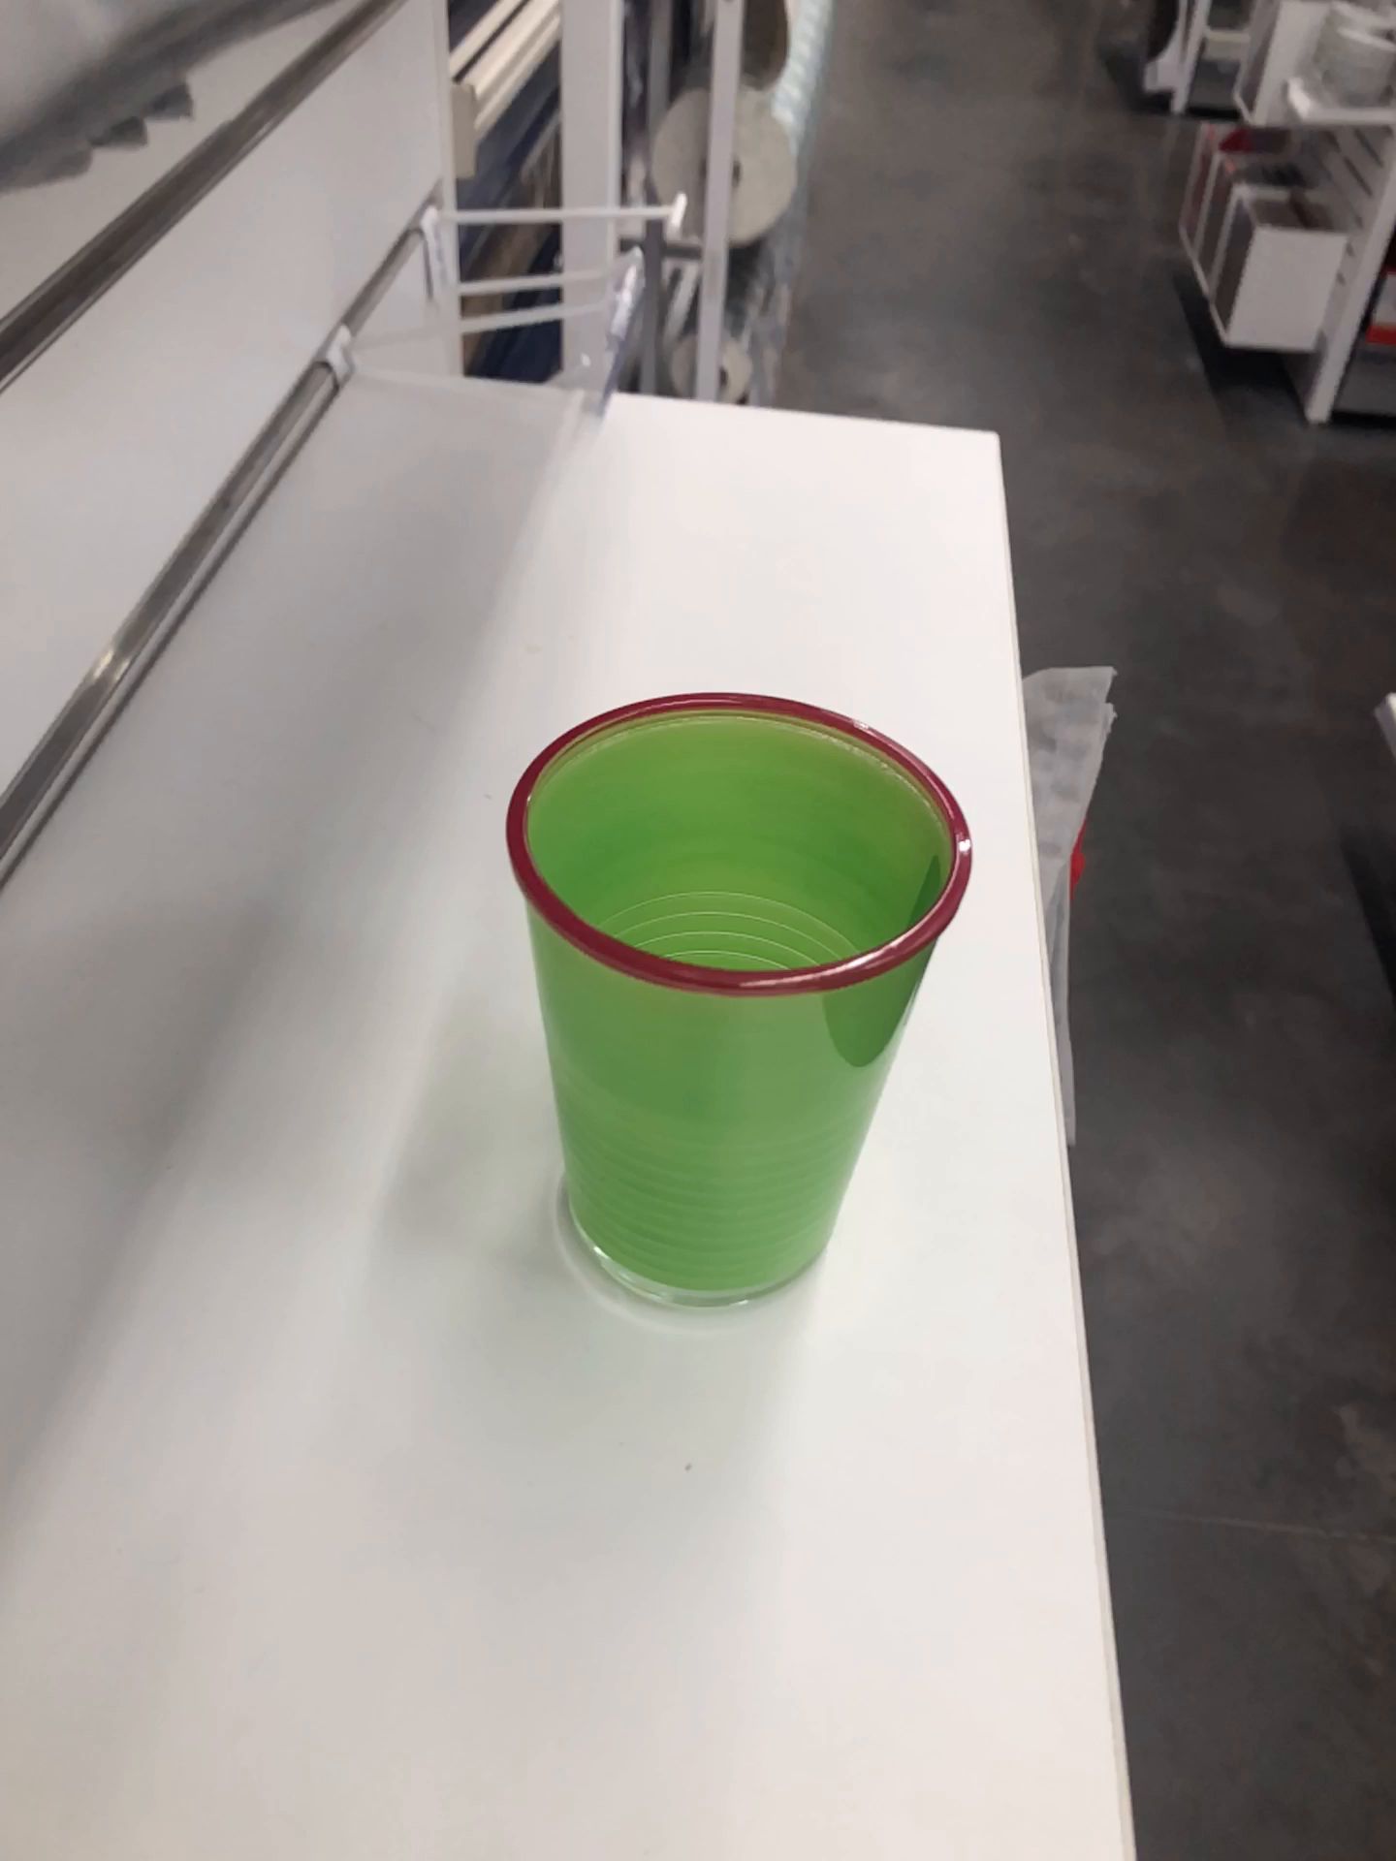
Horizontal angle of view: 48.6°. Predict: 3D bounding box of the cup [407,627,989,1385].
[{"bbox_3d":[0.002,0.014,0.293,0.082,0.098,0.087,2,43,-2],"label":"cup"}]
